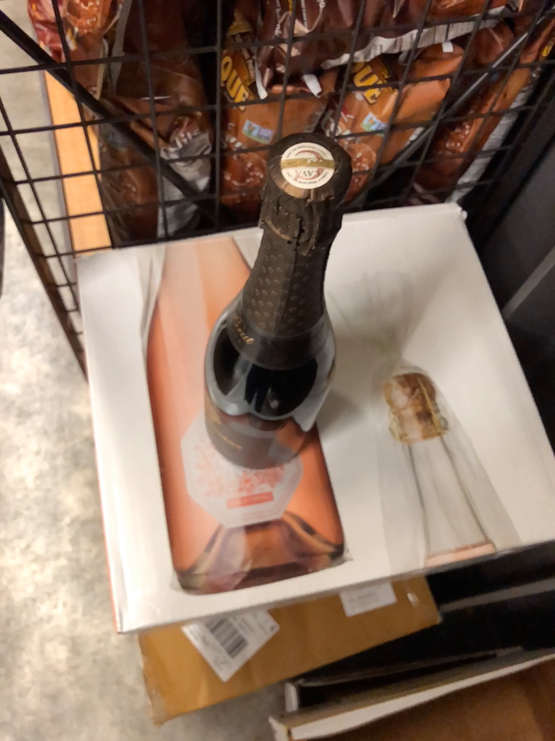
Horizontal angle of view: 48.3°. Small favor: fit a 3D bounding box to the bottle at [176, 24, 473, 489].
[{"bbox_3d":[0.000,-0.024,0.377,0.084,0.327,0.090,2,65,-5],"label":"bottle"}]
